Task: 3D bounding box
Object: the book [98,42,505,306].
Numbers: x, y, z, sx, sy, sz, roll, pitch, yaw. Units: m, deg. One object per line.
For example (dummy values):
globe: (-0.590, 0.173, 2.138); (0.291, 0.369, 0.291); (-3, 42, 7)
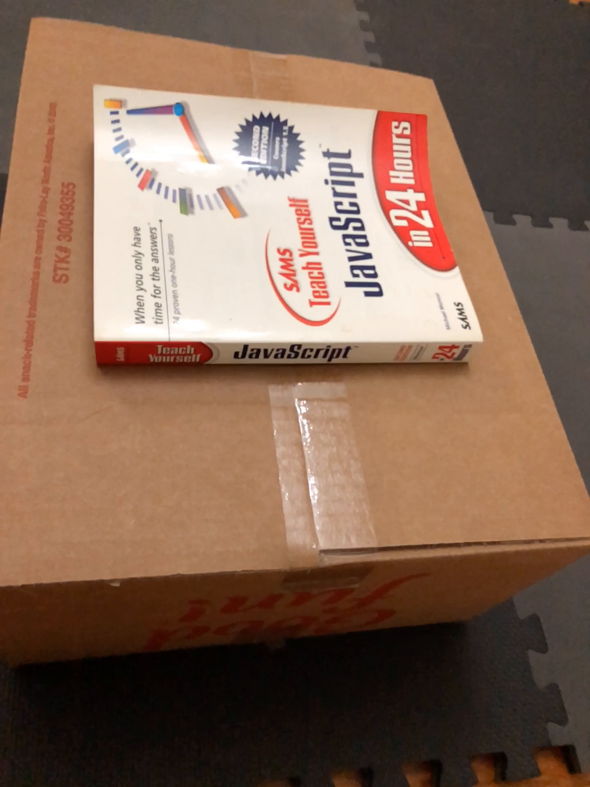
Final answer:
book: (-0.005, -0.147, 0.436); (0.240, 0.030, 0.201); (-2, 59, -14)
